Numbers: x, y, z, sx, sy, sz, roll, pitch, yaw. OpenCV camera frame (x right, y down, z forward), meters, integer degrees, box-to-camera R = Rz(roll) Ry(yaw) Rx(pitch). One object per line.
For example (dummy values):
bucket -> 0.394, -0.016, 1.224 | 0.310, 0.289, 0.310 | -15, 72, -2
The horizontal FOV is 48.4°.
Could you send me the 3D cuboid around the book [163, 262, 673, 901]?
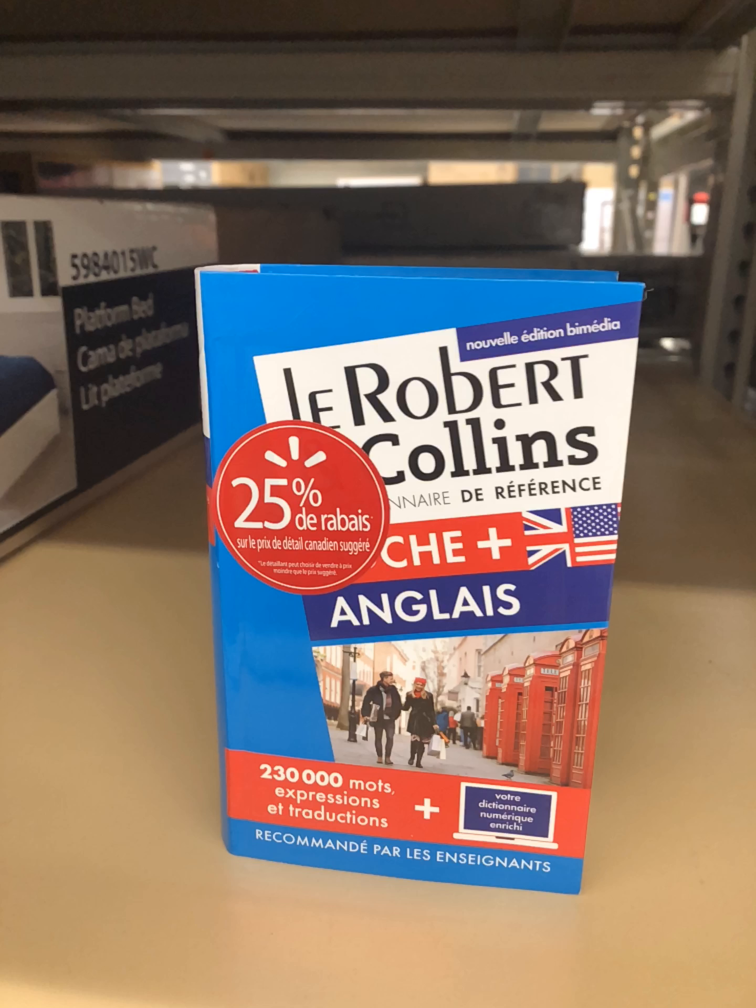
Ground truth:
book -> 0.010, 0.020, 0.253 | 0.120, 0.173, 0.059 | 4, 19, 8
